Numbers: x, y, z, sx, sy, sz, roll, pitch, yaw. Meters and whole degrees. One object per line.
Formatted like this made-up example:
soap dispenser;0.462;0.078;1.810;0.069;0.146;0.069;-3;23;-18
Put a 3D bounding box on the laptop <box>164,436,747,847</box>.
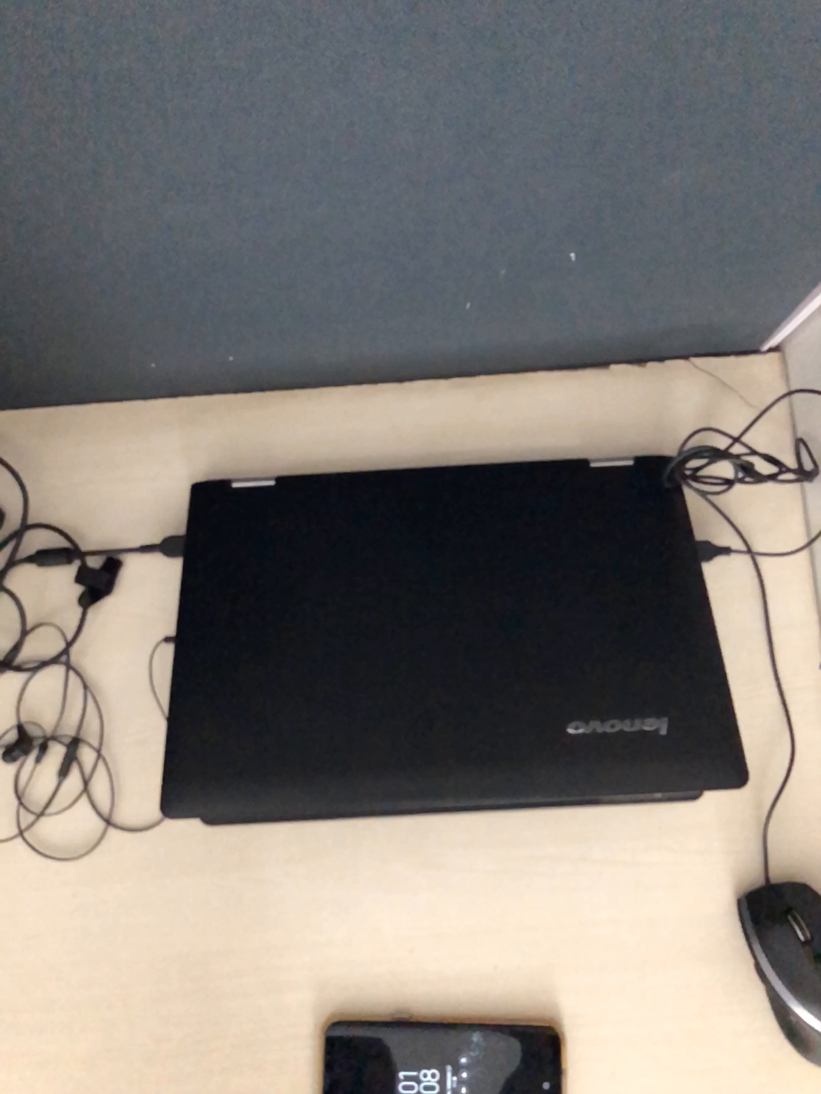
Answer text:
laptop;0.020;0.058;0.567;0.326;0.083;0.219;-3;81;1
